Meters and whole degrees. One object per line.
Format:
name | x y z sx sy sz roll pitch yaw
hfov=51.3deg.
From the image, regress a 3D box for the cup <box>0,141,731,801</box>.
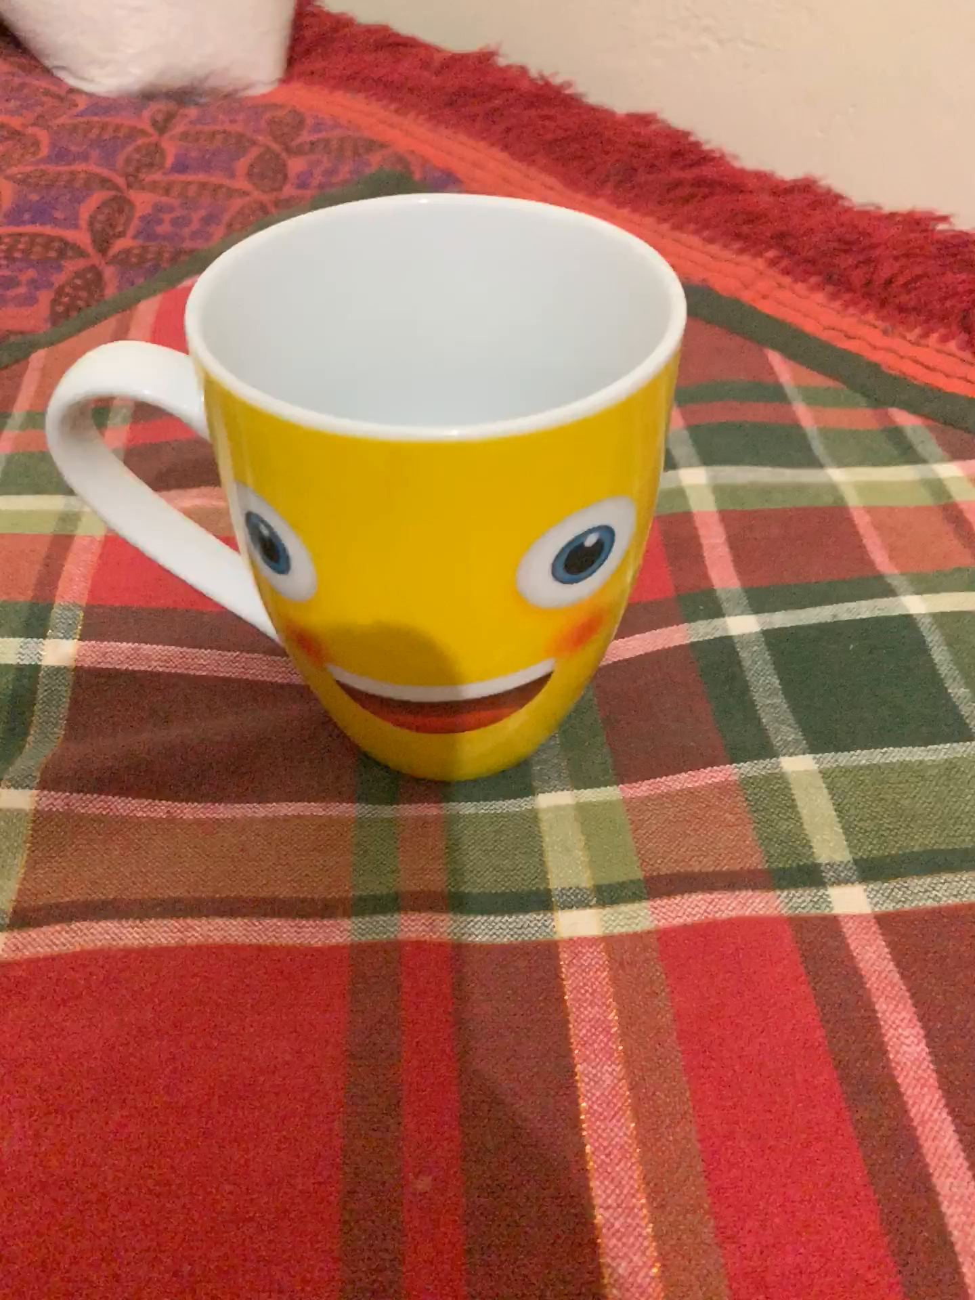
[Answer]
cup | -0.027 -0.033 0.181 0.120 0.080 0.080 3 47 4
